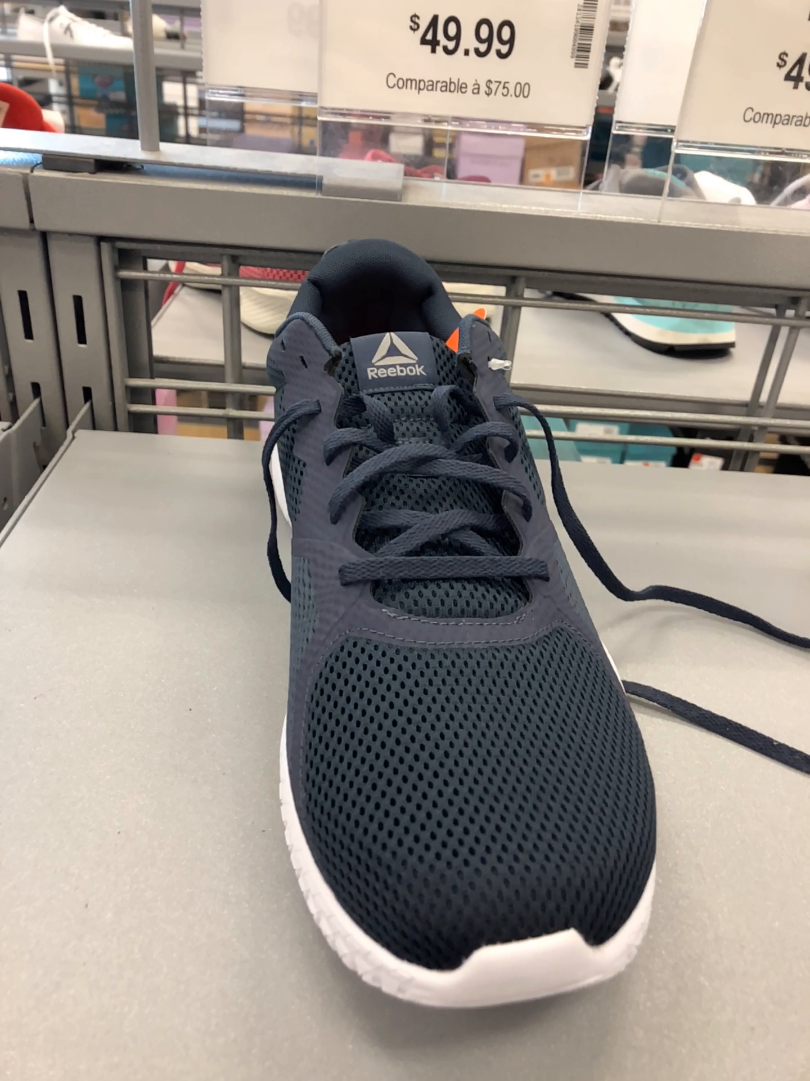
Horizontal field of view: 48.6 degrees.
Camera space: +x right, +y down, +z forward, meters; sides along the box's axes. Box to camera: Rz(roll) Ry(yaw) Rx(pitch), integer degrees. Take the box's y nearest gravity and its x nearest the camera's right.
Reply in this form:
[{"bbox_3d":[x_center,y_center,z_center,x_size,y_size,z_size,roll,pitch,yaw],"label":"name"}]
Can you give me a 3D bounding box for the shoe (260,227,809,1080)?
[{"bbox_3d":[0.013,-0.012,0.313,0.120,0.109,0.323,-1,32,-10],"label":"shoe"}]
